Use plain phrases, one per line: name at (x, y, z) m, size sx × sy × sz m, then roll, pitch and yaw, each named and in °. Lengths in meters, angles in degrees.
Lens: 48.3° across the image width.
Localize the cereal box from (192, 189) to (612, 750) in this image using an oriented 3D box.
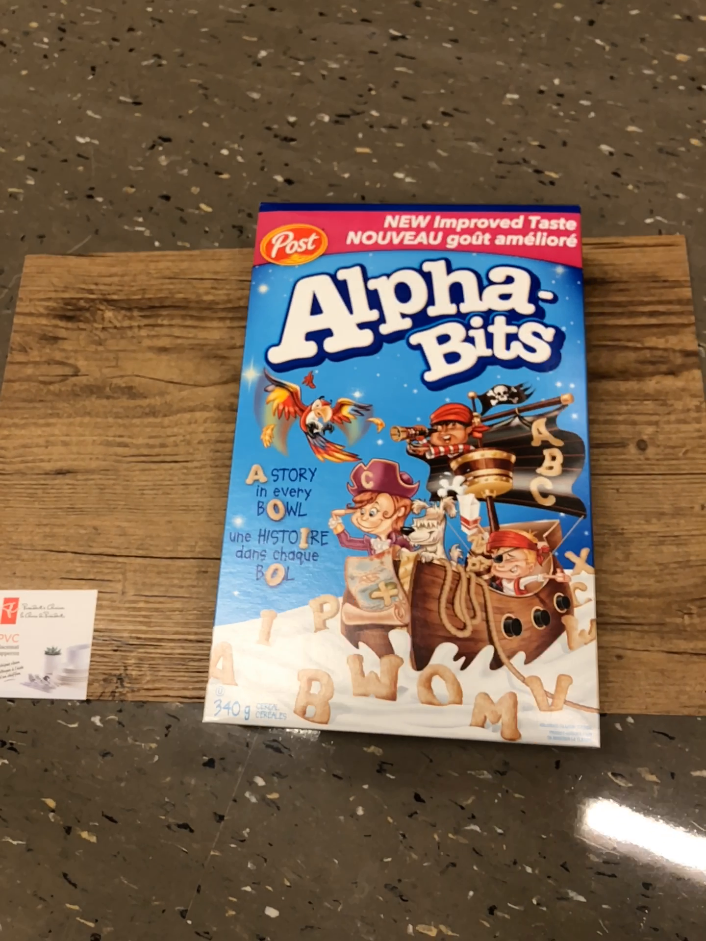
cereal box at (0.034, -0.011, 0.452) m, size 0.200 × 0.060 × 0.310 m, roll 2°, pitch 72°, yaw 6°
